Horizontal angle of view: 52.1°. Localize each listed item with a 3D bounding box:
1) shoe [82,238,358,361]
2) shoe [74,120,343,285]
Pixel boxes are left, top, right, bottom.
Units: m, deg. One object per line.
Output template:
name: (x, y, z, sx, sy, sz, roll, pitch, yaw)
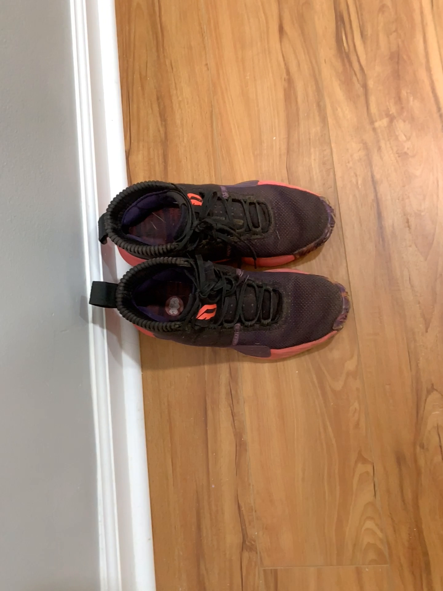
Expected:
shoe: (0.004, 0.012, 0.530, 0.285, 0.132, 0.119, 0, 83, 12)
shoe: (-0.011, -0.097, 0.547, 0.285, 0.132, 0.120, -6, 82, 11)
